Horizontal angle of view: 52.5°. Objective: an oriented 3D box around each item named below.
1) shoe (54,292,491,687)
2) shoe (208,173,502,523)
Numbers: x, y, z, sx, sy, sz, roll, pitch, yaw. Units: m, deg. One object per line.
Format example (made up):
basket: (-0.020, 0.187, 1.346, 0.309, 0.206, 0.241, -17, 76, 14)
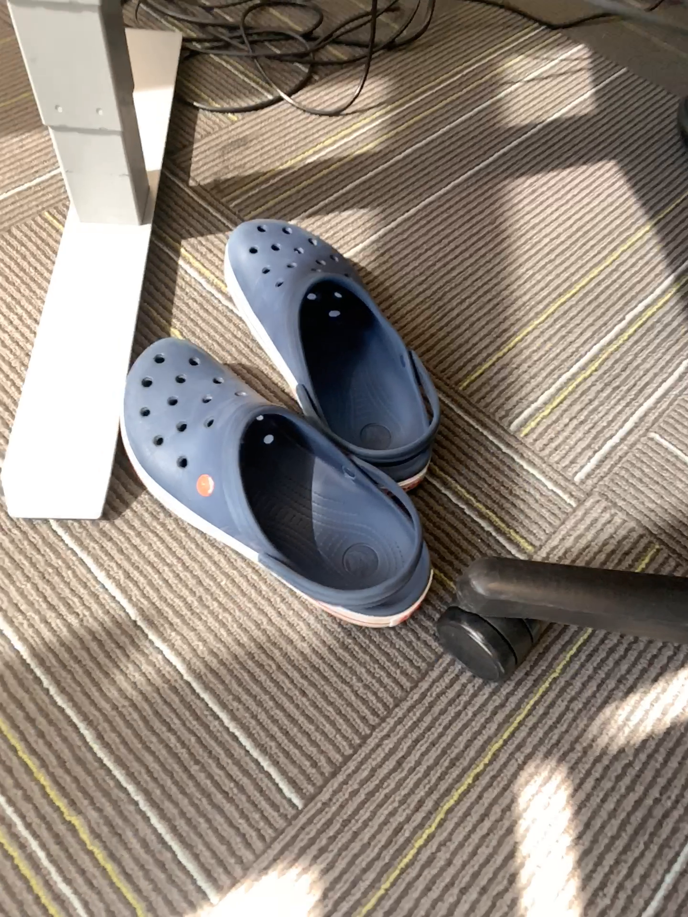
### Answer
shoe: (-0.063, 0.014, 0.564, 0.330, 0.080, 0.130, 37, 63, 16)
shoe: (-0.004, -0.115, 0.642, 0.130, 0.080, 0.321, -20, 64, -16)
